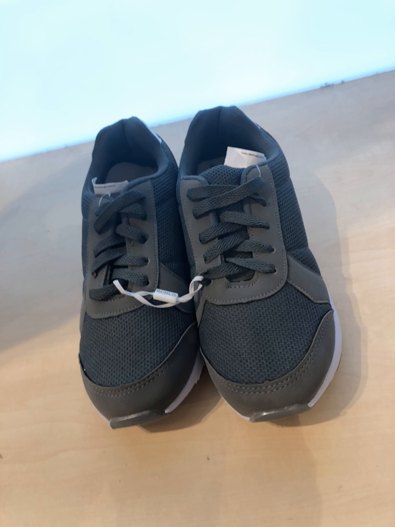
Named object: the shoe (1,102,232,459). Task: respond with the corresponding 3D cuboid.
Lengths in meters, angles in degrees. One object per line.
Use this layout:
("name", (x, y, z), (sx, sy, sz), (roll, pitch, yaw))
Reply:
("shoe", (-0.046, 0.002, 0.321), (0.100, 0.099, 0.231), (-11, 52, 7))

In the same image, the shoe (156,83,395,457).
("shoe", (0.039, -0.009, 0.315), (0.100, 0.099, 0.241), (-13, 51, 6))
